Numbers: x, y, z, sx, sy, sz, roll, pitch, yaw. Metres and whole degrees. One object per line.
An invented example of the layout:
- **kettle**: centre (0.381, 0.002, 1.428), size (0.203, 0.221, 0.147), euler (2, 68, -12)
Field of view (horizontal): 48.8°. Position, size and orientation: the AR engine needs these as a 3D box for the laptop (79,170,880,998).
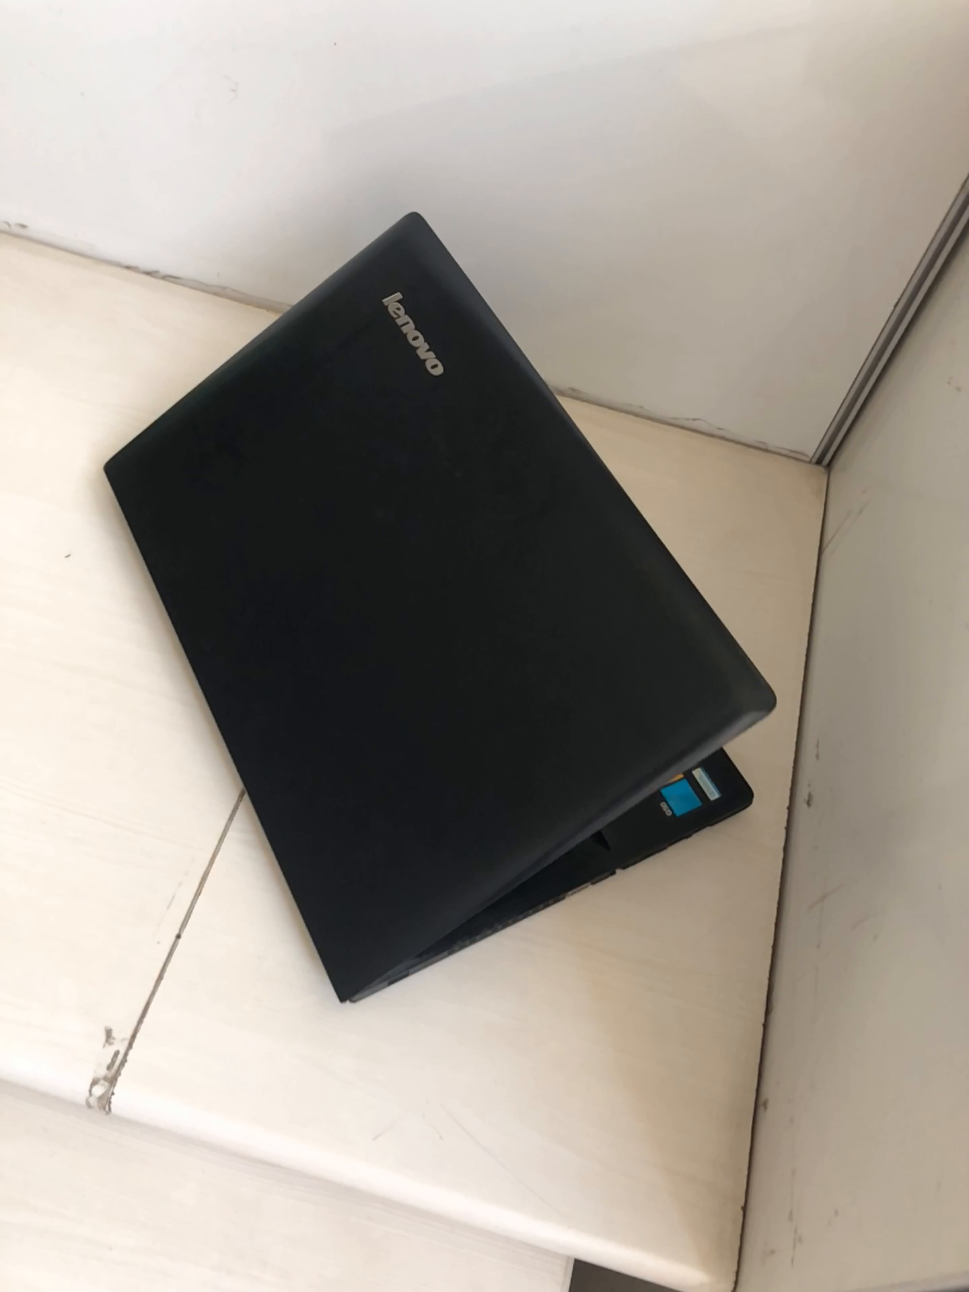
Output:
- **laptop**: centre (-0.032, -0.053, 0.598), size (0.252, 0.162, 0.375), euler (-22, 63, -17)
